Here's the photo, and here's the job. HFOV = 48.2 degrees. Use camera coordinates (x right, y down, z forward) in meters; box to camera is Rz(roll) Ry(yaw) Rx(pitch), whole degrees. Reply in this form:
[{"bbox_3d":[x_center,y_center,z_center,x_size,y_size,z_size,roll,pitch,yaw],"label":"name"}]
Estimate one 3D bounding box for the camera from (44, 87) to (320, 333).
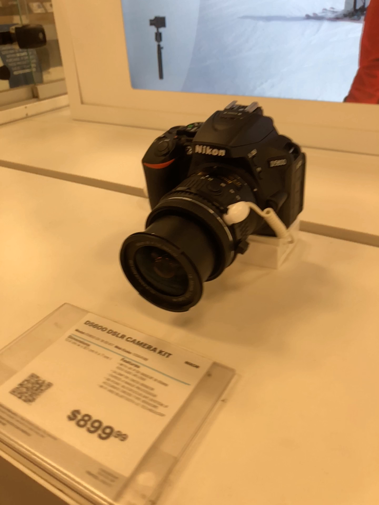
[{"bbox_3d":[0.012,-0.052,0.328,0.120,0.090,0.191,14,41,26],"label":"camera"}]
